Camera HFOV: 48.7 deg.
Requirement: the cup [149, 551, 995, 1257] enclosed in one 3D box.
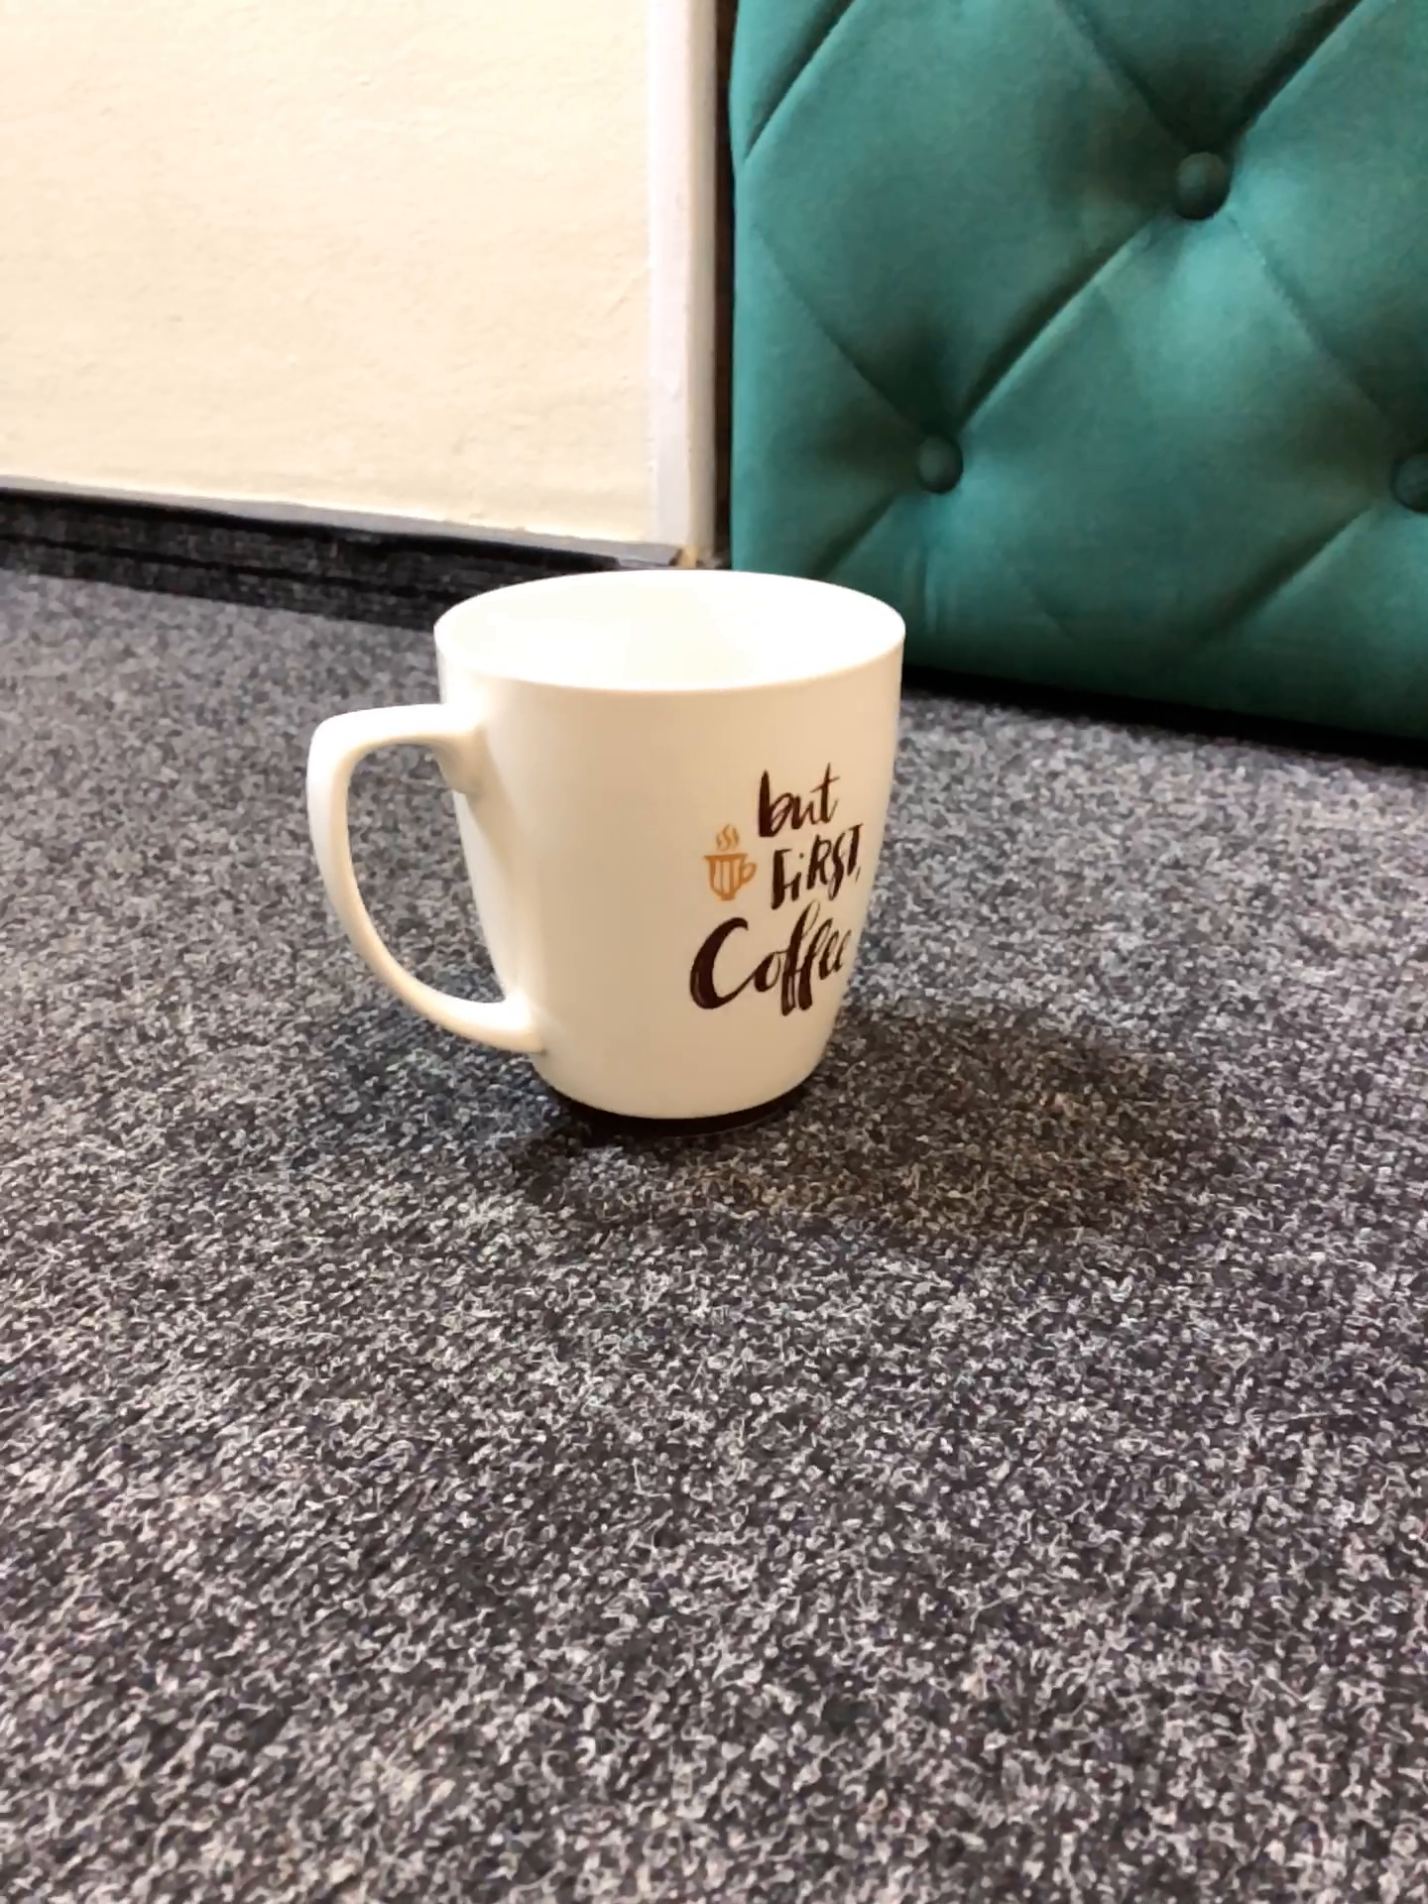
[{"bbox_3d":[-0.029,-0.025,0.361,0.146,0.100,0.110,-19,31,-36],"label":"cup"}]
